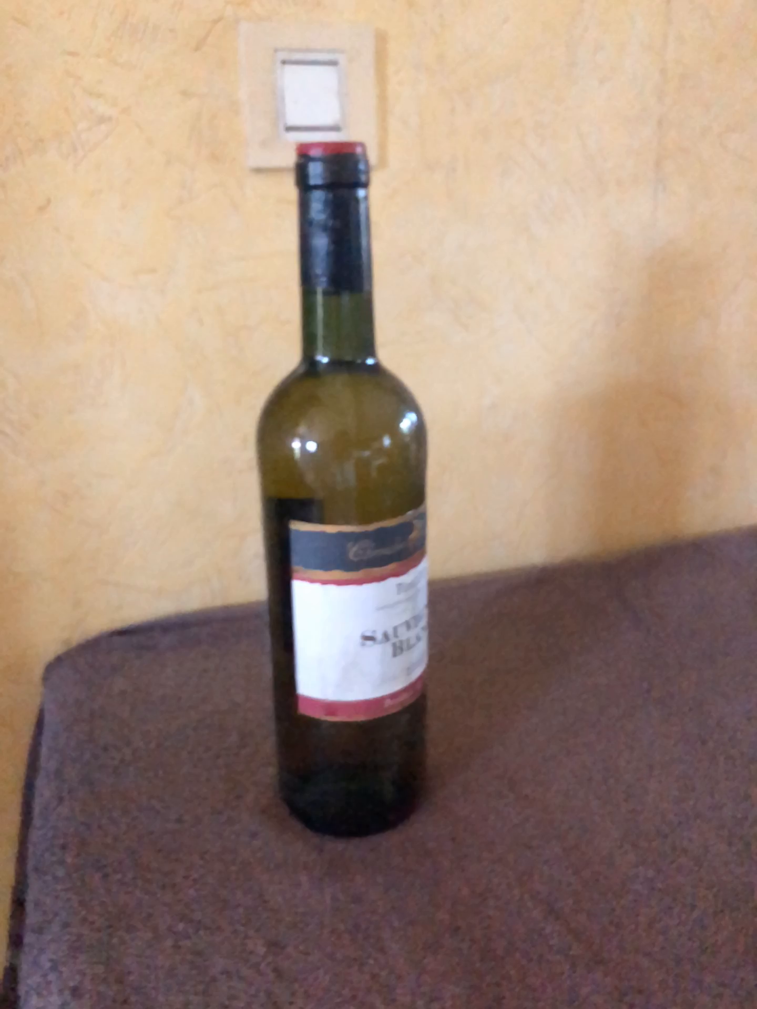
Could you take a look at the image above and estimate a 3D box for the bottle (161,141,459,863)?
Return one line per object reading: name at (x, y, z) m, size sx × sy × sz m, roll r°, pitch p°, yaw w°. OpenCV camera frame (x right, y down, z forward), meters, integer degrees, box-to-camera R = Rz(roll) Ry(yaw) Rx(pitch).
bottle at (-0.020, 0.001, 0.370) m, size 0.080 × 0.289 × 0.080 m, roll -2°, pitch 20°, yaw 1°
